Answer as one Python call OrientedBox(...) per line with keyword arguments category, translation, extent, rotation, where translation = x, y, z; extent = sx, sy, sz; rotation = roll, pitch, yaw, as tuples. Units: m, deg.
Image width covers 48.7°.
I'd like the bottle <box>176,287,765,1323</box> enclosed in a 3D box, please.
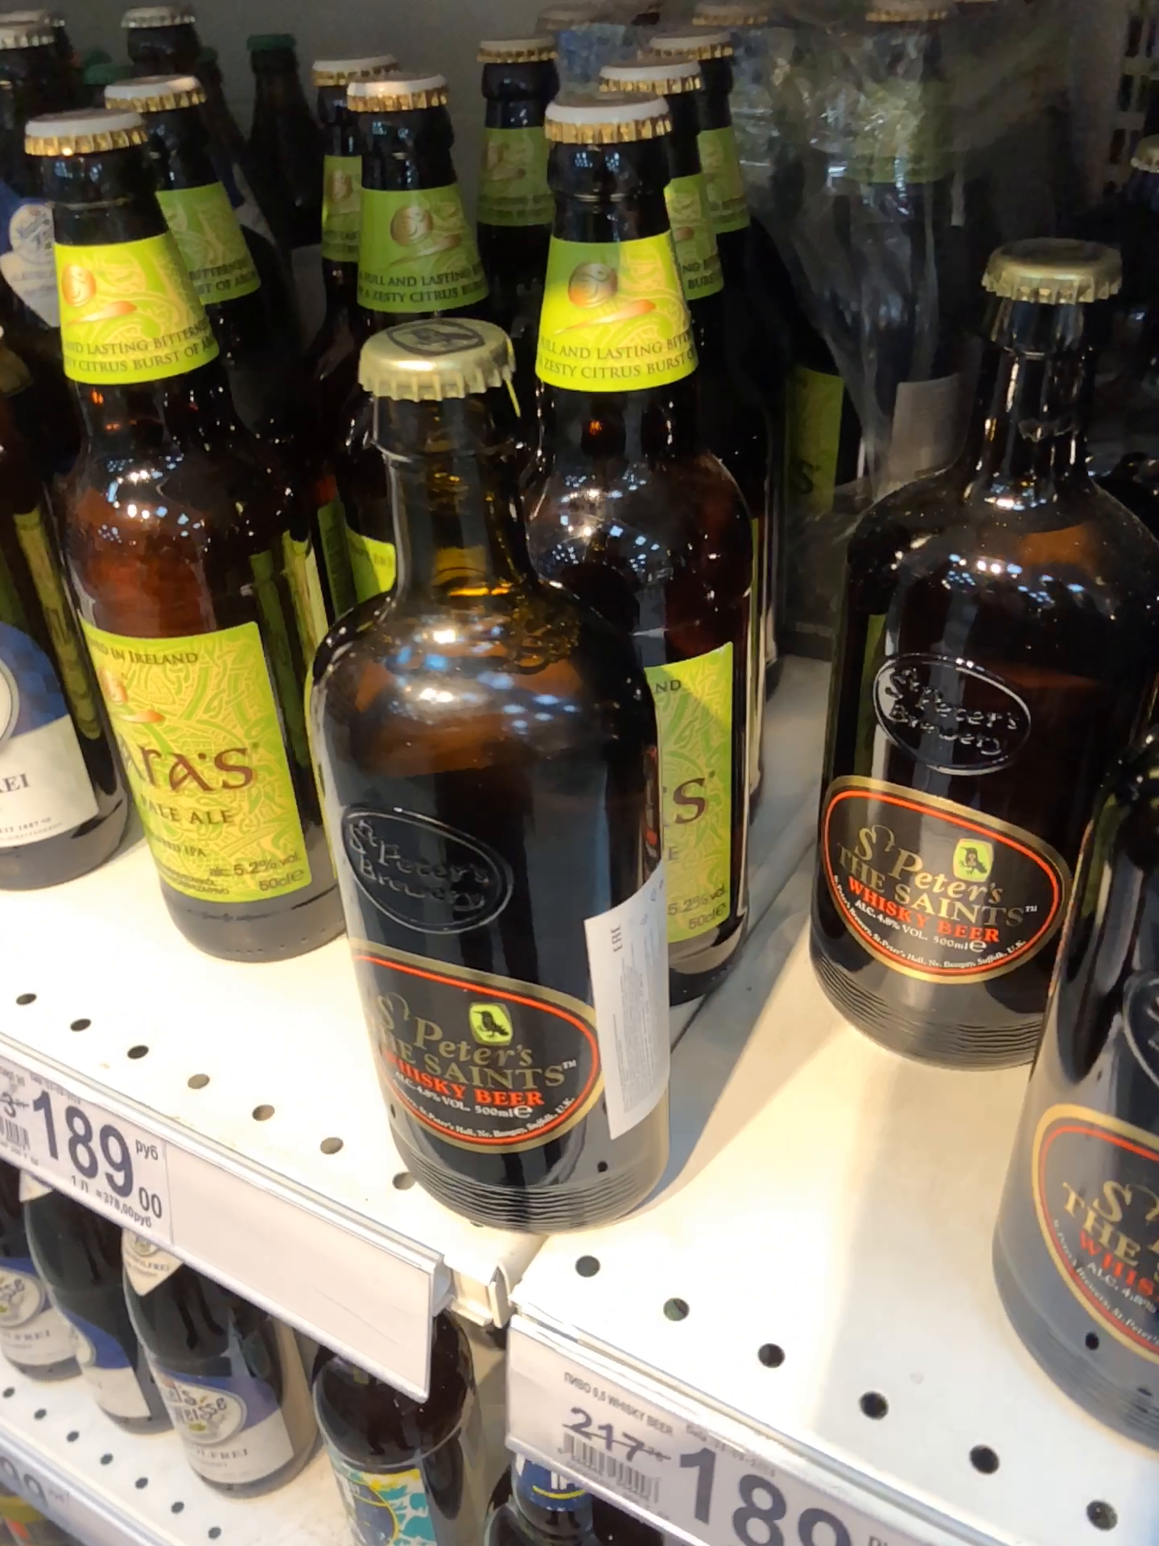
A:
OrientedBox(category="bottle", translation=(-0.014, 0.016, 0.299), extent=(0.090, 0.229, 0.060), rotation=(16, 38, 26))
